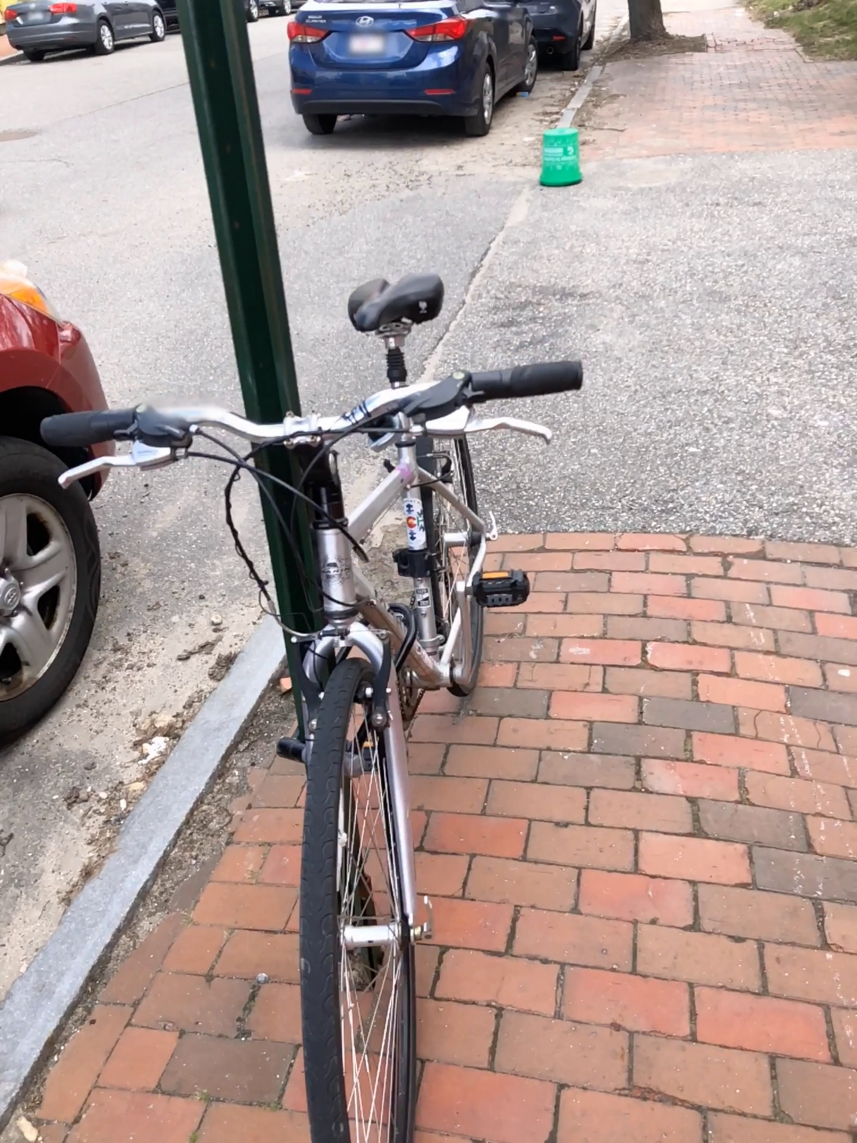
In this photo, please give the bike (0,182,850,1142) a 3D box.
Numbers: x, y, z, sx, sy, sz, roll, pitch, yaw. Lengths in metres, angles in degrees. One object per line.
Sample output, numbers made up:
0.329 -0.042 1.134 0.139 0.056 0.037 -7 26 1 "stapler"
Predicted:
-0.064 -0.011 1.387 0.608 1.011 1.570 2 28 5 "bike"
